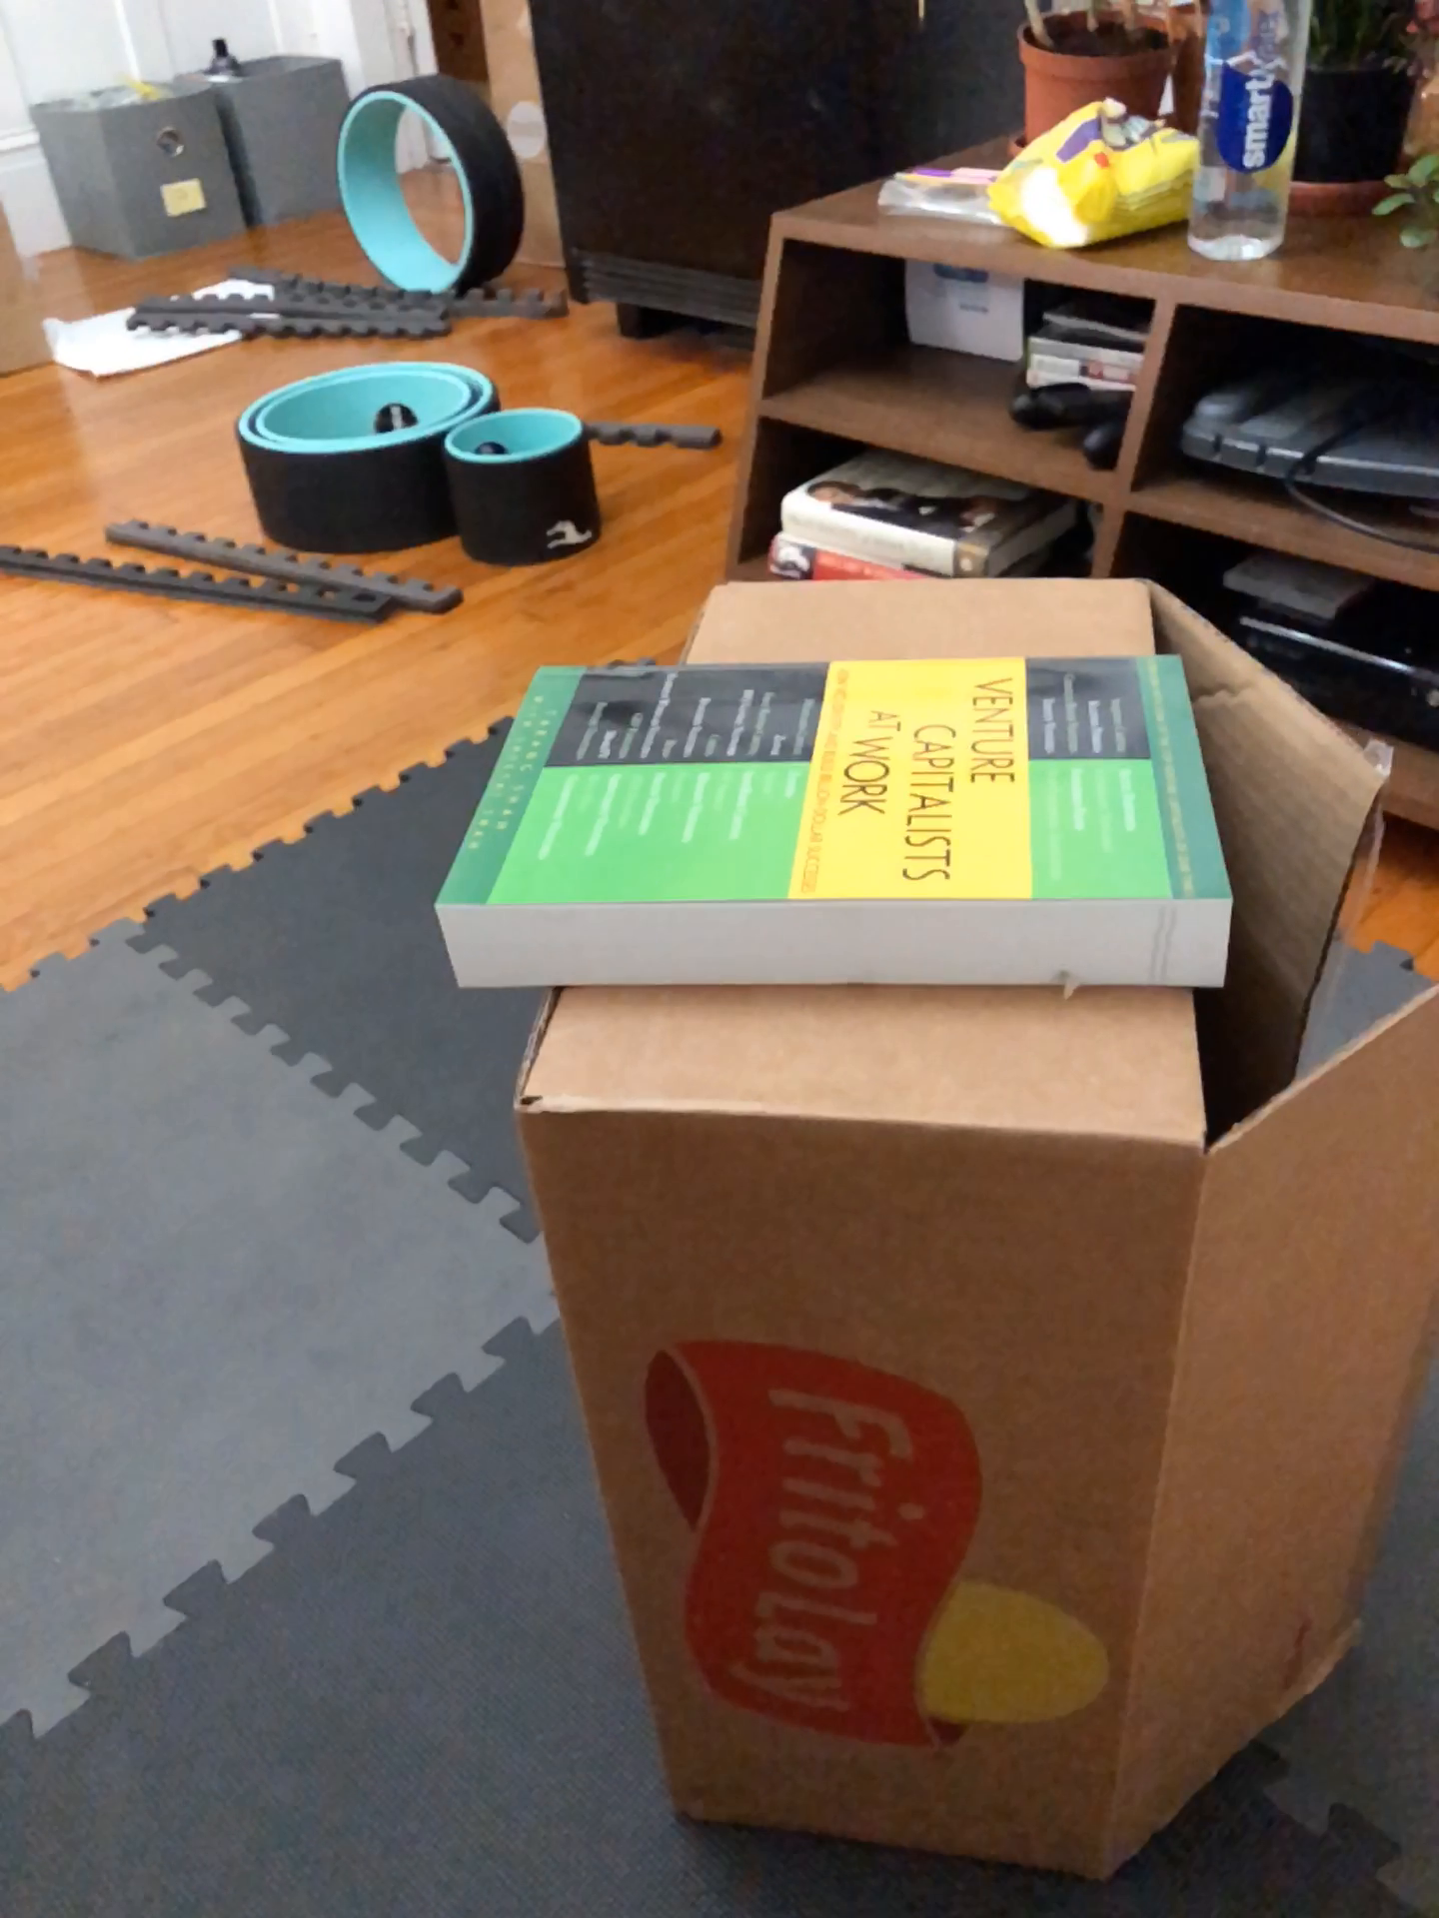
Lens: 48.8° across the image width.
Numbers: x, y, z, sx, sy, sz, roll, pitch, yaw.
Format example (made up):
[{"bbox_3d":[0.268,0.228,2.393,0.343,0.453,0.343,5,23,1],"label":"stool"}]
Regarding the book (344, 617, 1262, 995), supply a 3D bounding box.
[{"bbox_3d":[0.030,-0.055,0.521,0.260,0.040,0.161,0,37,10],"label":"book"}]
